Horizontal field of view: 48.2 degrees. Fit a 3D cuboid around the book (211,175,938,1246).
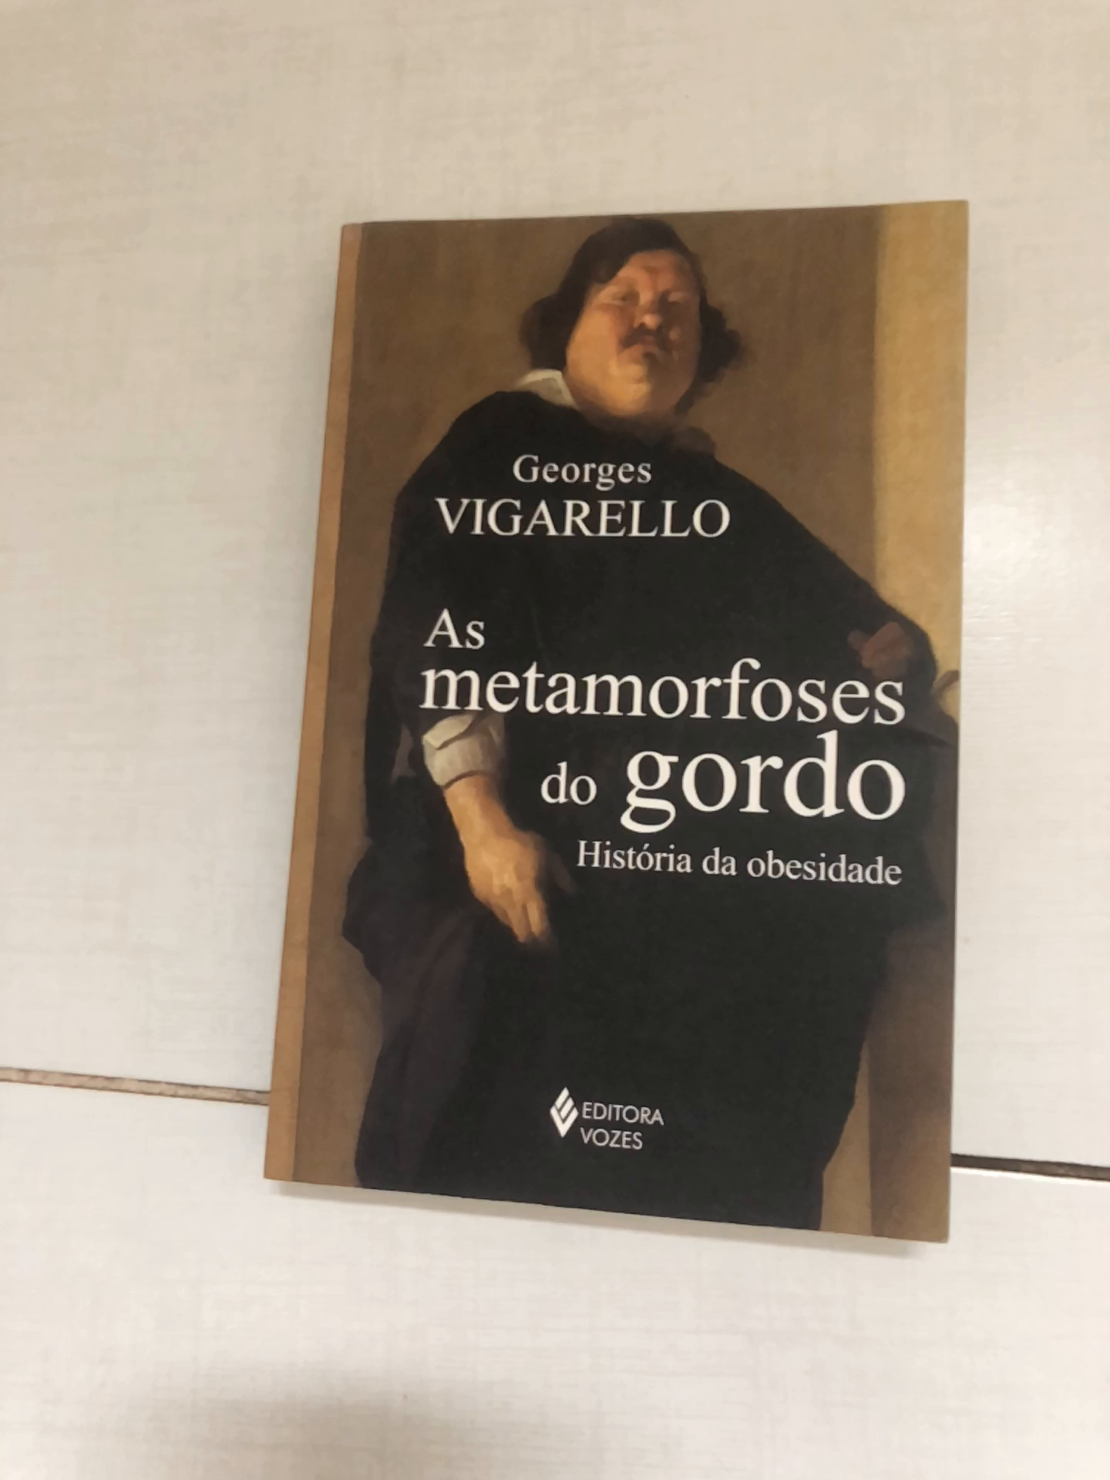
[{"bbox_3d":[0.006,-0.011,0.257,0.137,0.023,0.204,2,83,10],"label":"book"}]
